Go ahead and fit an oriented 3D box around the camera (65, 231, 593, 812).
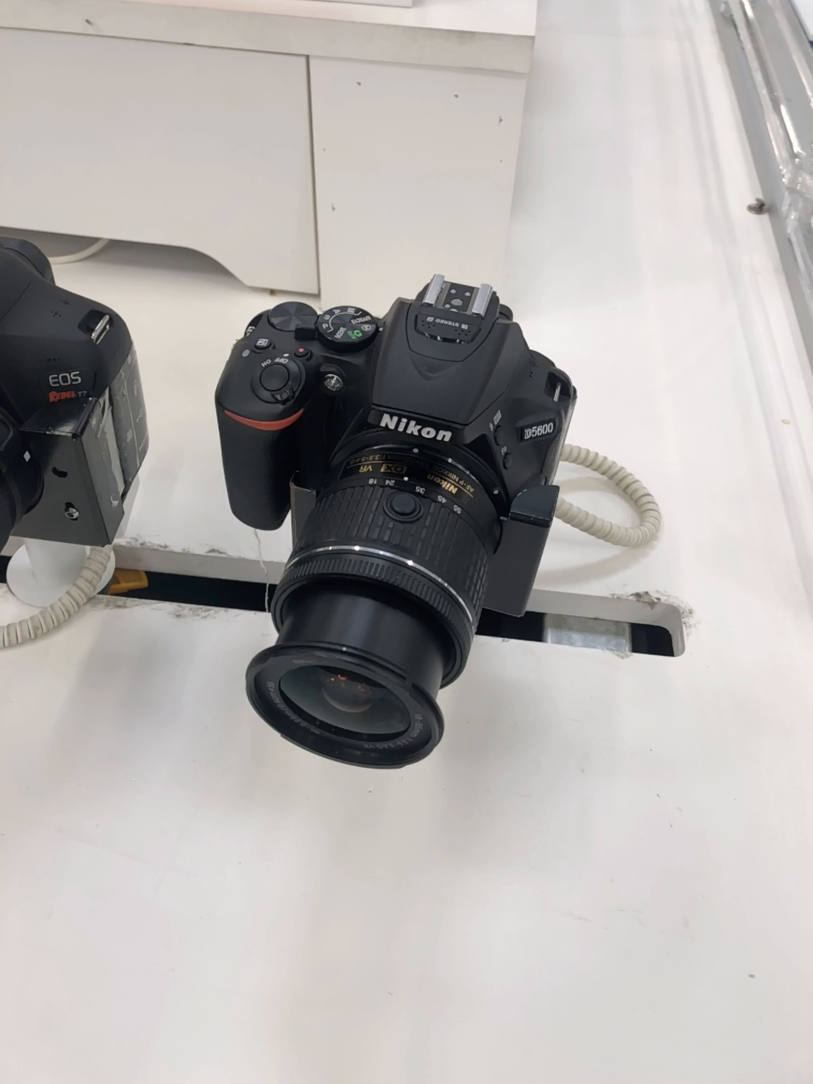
[{"bbox_3d":[-0.011,-0.013,0.290,0.120,0.089,0.151,9,49,4],"label":"camera"}]
